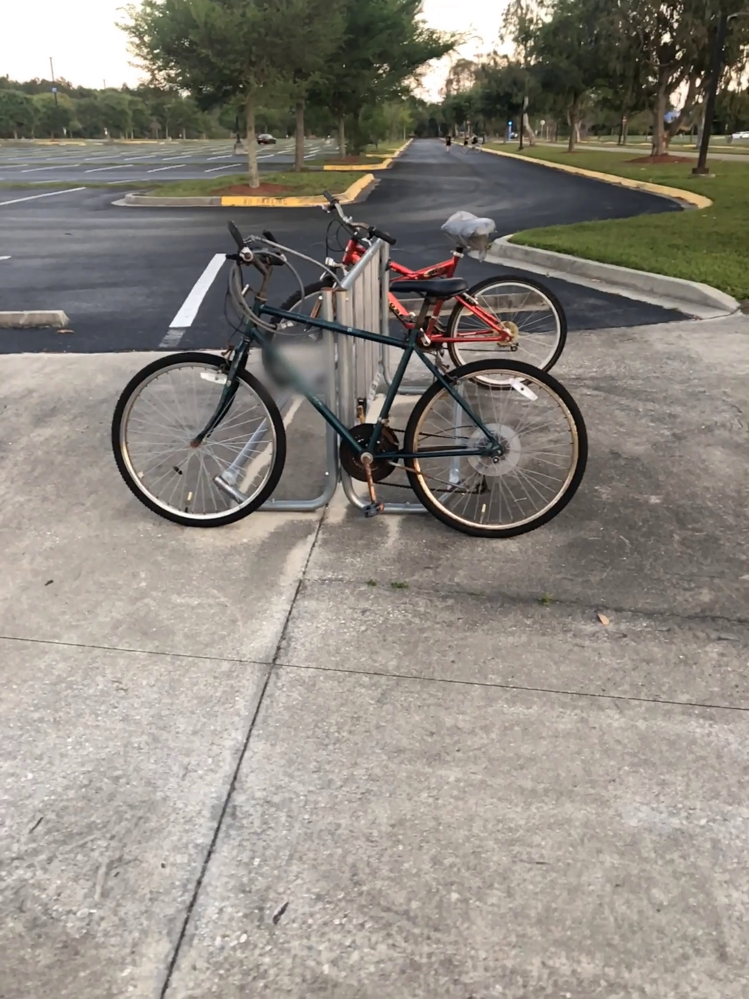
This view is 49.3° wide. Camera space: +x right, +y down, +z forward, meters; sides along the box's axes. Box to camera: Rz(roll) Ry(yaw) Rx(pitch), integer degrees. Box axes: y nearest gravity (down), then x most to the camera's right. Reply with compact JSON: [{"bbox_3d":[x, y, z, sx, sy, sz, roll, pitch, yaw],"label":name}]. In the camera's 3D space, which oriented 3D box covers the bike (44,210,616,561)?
[{"bbox_3d":[-0.110,-0.435,2.959,1.750,1.104,0.587,2,23,6],"label":"bike"}]
